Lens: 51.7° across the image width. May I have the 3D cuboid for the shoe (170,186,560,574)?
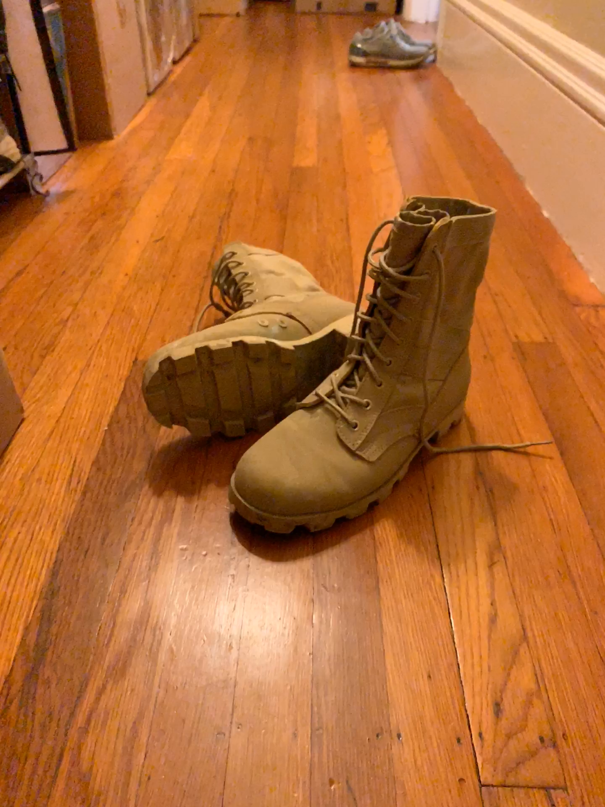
[{"bbox_3d":[0.057,-0.035,0.524,0.290,0.199,0.121,-28,47,-31],"label":"shoe"}]

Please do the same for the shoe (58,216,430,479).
[{"bbox_3d":[-0.062,-0.088,0.677,0.290,0.109,0.261,-26,40,-30],"label":"shoe"}]
